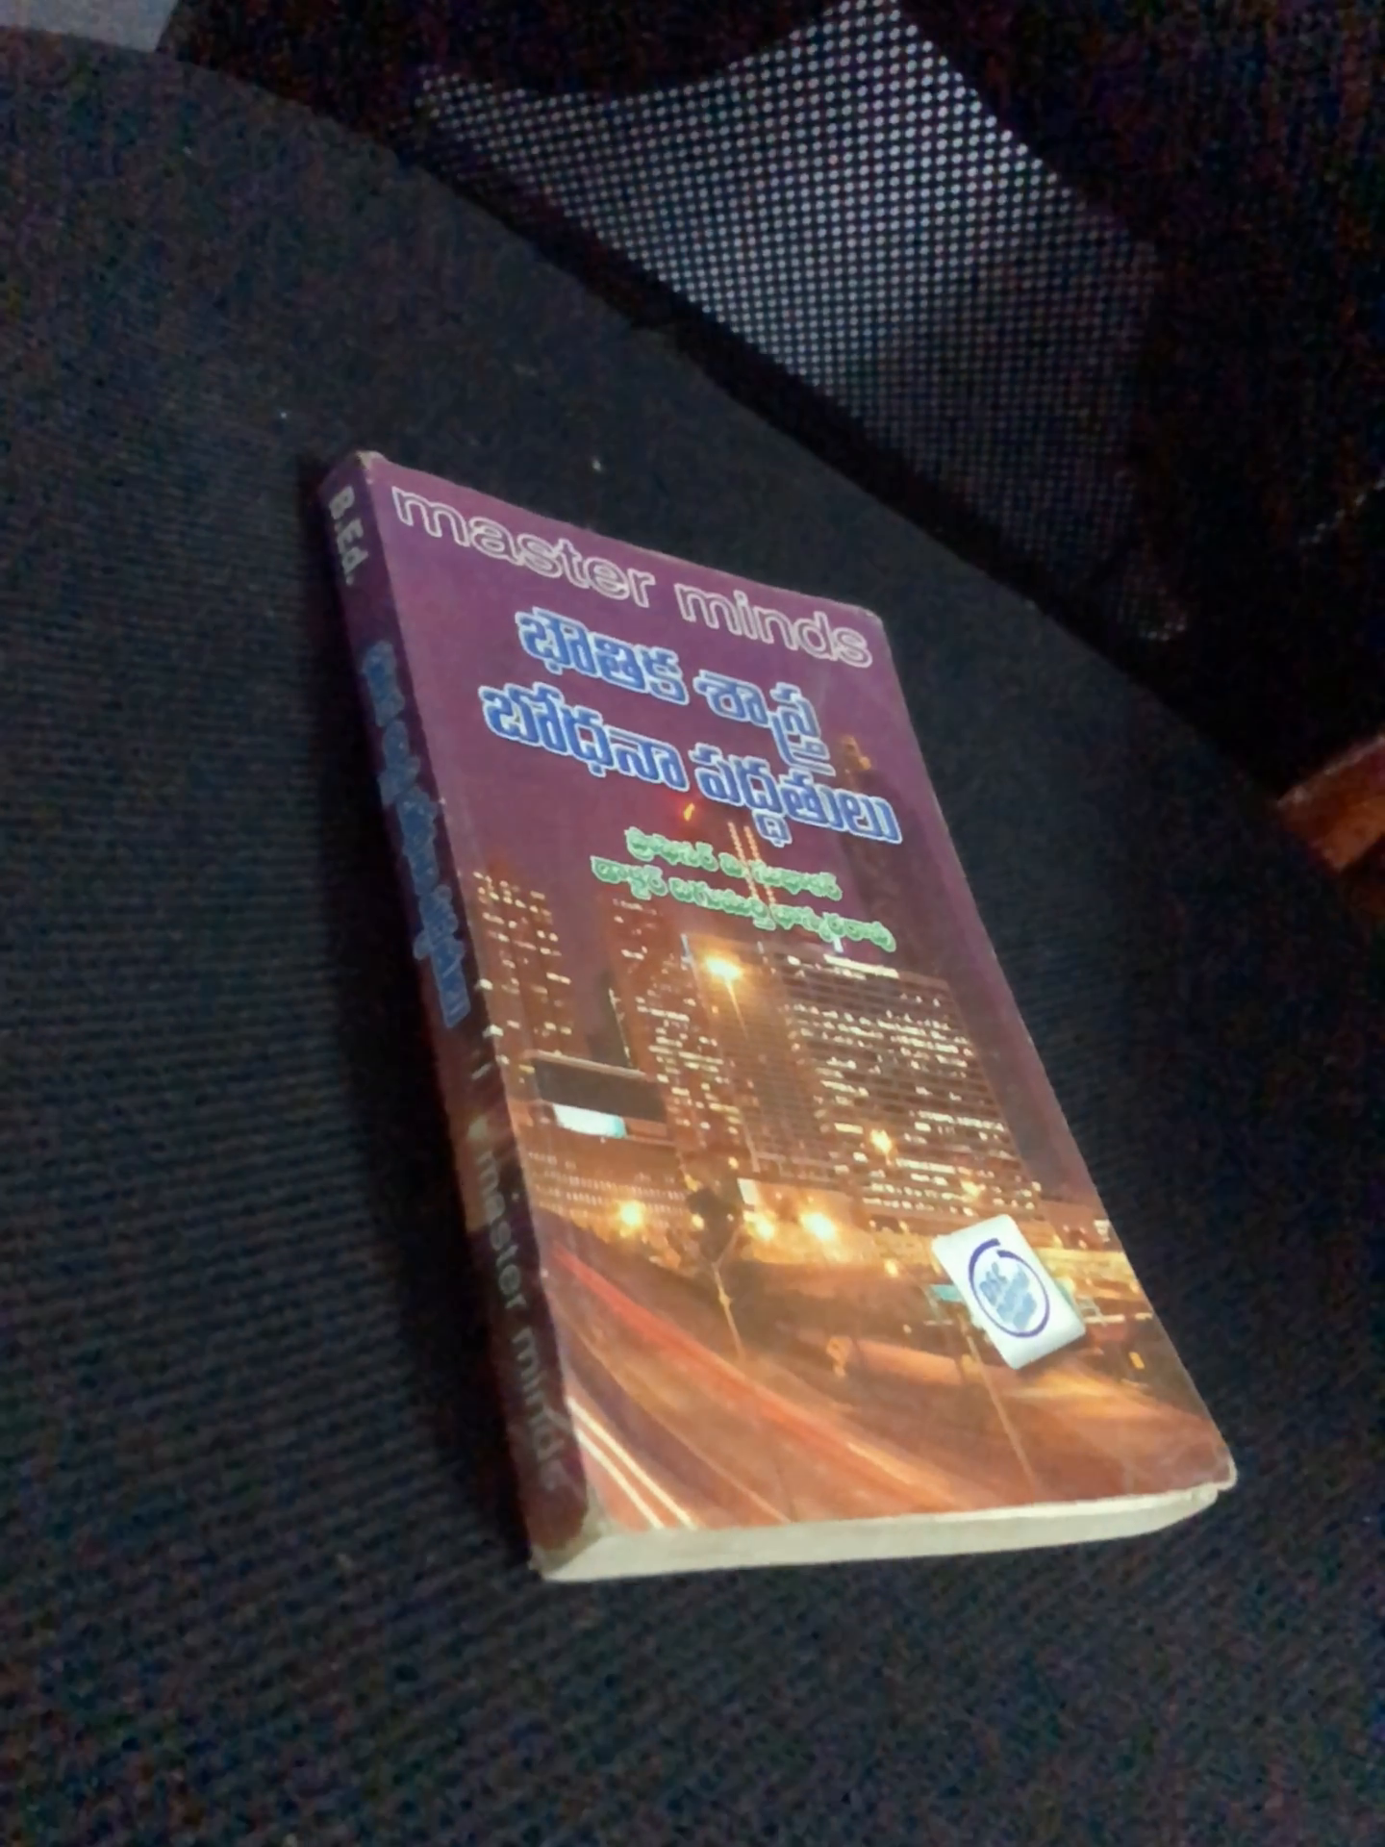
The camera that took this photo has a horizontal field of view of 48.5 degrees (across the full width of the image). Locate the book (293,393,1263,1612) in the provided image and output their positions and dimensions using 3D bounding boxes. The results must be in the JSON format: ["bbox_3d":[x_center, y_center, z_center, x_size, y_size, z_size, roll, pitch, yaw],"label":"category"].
[{"bbox_3d":[0.009,0.006,0.290,0.146,0.027,0.219,16,44,-39],"label":"book"}]
